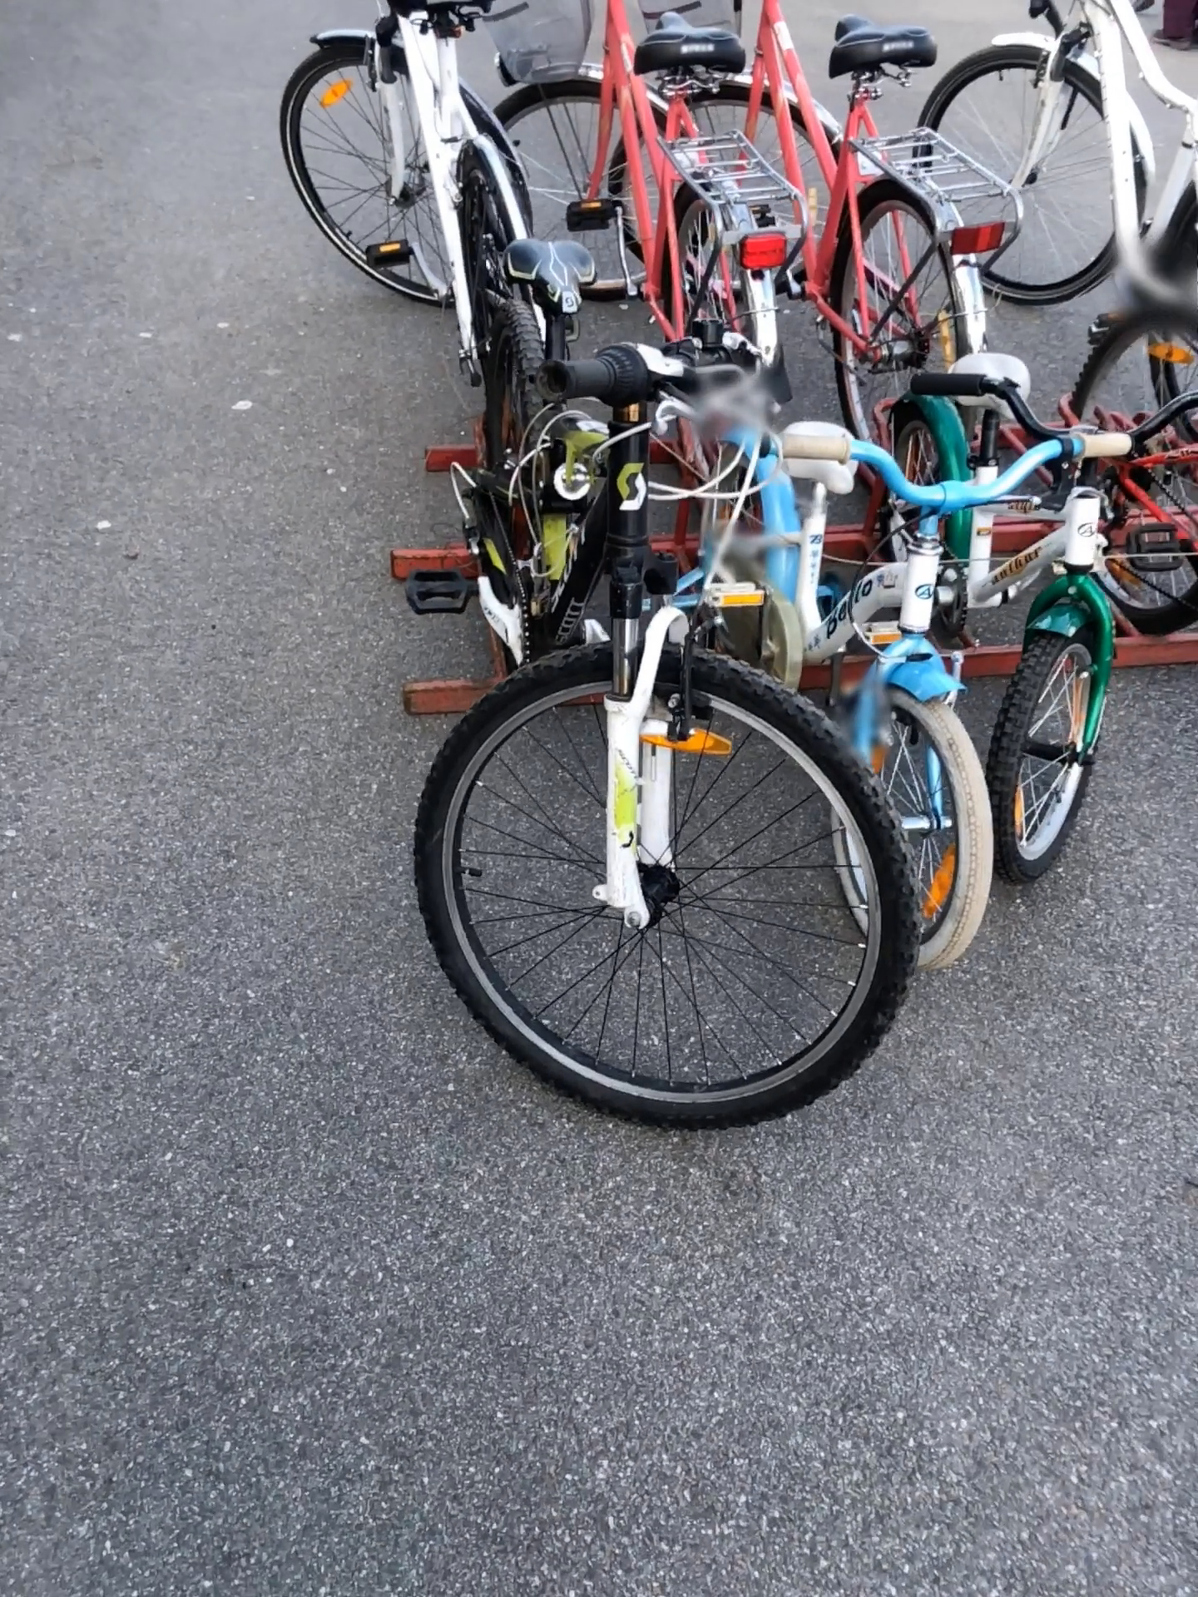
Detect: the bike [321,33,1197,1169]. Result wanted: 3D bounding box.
[{"bbox_3d":[0.057,-0.361,1.733,0.528,0.901,1.379,-9,41,-18],"label":"bike"}]
